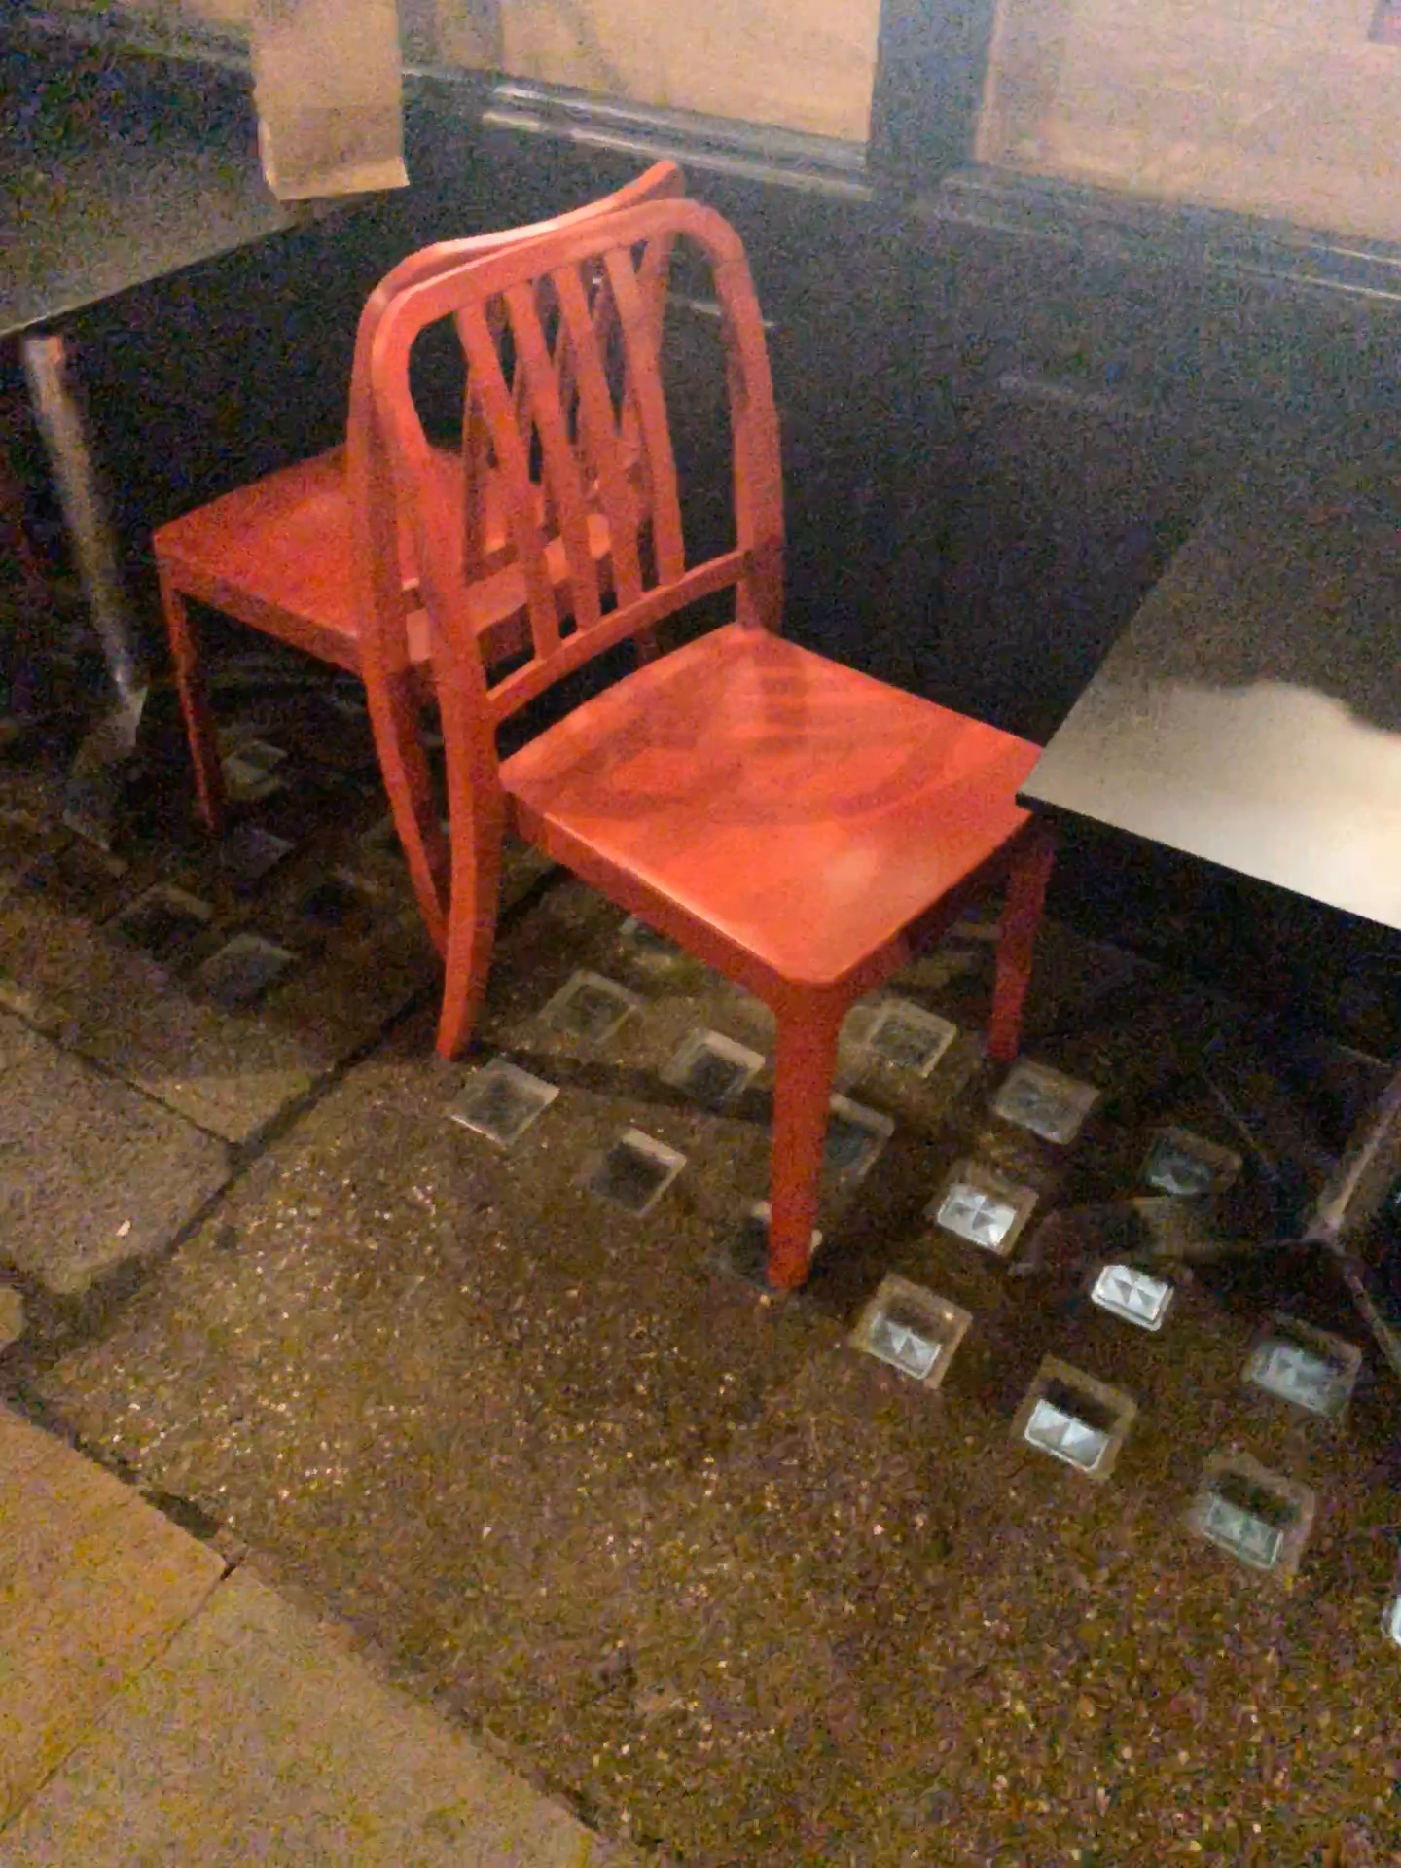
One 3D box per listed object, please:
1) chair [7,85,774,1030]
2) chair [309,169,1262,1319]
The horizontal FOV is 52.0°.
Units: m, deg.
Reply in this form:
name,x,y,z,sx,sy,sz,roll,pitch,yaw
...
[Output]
name,x,y,z,sx,sy,sz,roll,pitch,yaw
chair,-0.313,-0.457,1.732,0.542,0.852,0.544,25,45,23
chair,0.071,-0.203,1.455,0.562,0.852,0.574,27,46,26
